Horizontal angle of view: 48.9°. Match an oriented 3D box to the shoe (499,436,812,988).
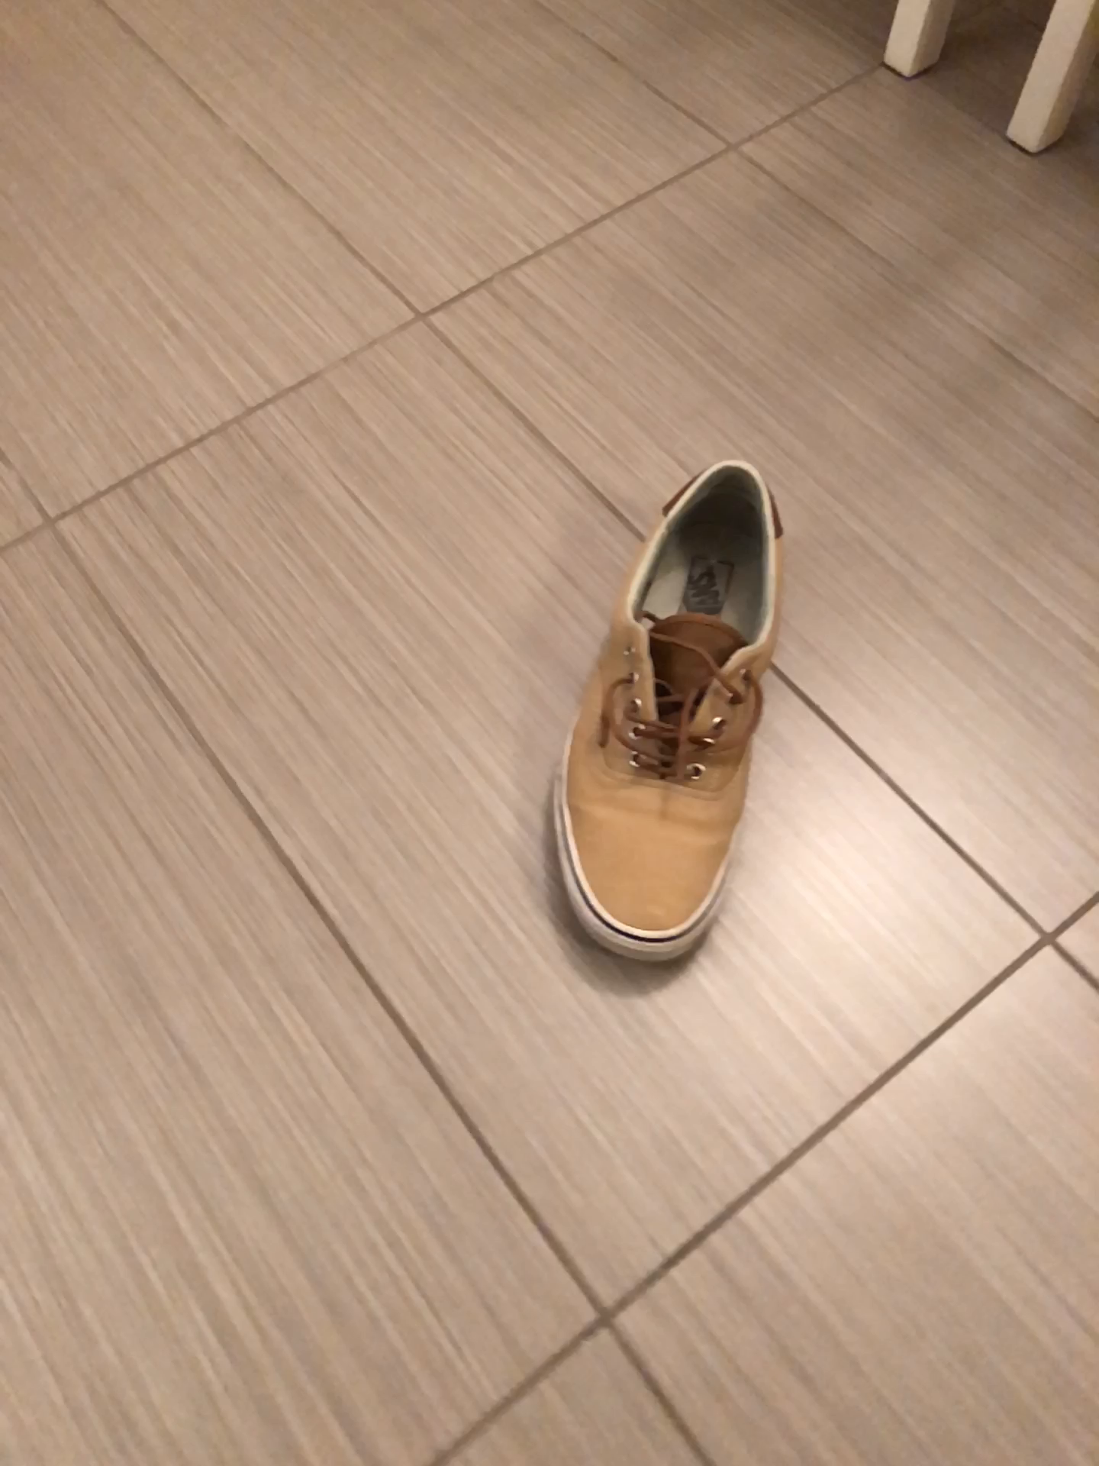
[{"bbox_3d":[0.068,-0.024,0.694,0.110,0.070,0.311,11,61,9],"label":"shoe"}]
